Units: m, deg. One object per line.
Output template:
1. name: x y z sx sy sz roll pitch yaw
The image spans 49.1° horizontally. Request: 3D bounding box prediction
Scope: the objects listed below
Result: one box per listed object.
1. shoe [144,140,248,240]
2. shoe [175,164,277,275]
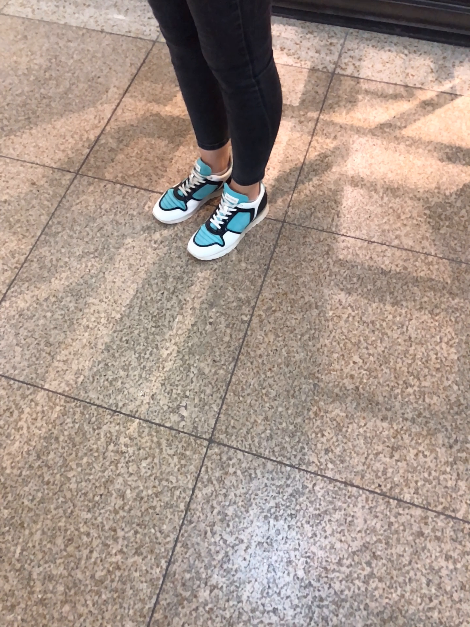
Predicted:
1. shoe: -0.094 -0.317 1.320 0.240 0.120 0.100 -33 65 -15
2. shoe: -0.017 -0.230 1.258 0.100 0.120 0.240 40 70 21
